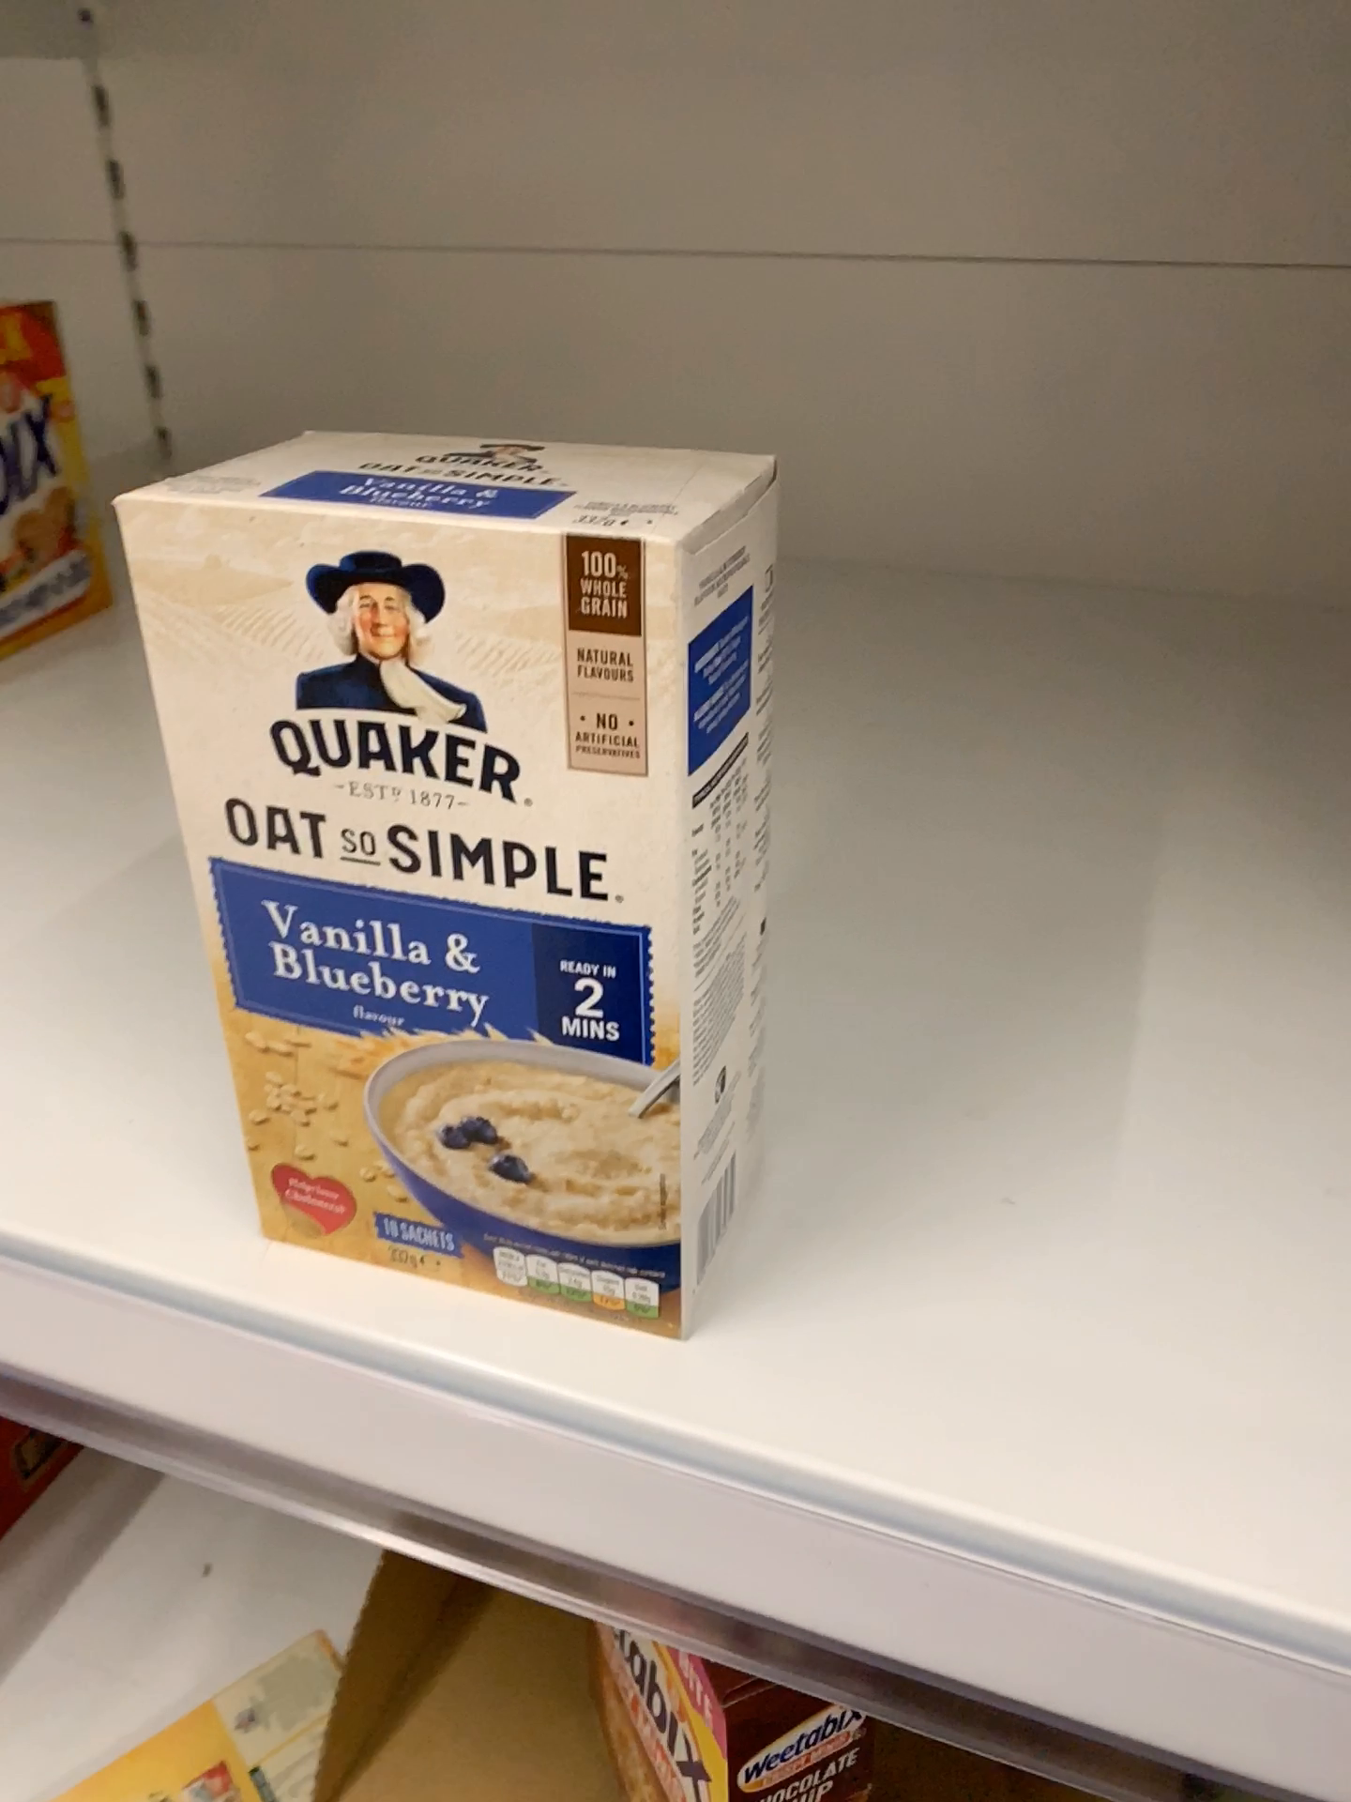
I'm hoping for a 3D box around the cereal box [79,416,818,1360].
[{"bbox_3d":[-0.045,-0.005,0.357,0.140,0.208,0.081,9,30,17],"label":"cereal box"}]
